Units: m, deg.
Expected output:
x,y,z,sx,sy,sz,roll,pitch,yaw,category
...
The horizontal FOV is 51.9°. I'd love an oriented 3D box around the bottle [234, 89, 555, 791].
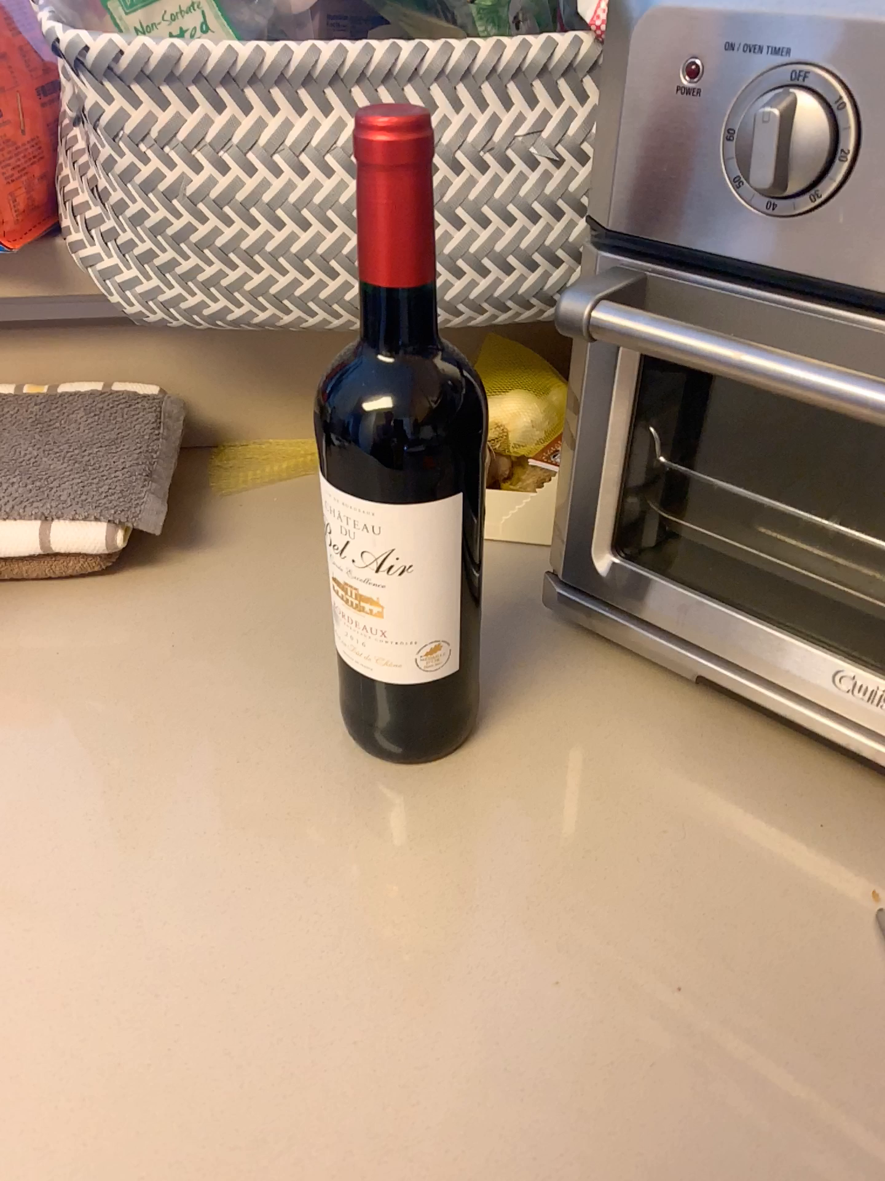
x,y,z,sx,sy,sz,roll,pitch,yaw,category
-0.016,-0.051,0.406,0.080,0.288,0.080,0,37,0,bottle
